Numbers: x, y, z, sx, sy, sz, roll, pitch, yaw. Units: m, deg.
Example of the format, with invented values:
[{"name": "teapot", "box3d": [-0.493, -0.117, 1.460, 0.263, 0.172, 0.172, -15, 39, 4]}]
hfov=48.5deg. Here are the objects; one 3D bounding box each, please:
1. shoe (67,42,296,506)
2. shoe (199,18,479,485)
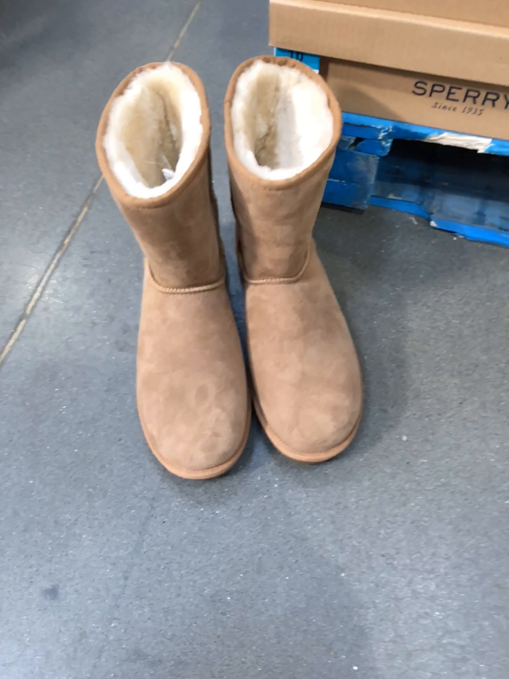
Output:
[{"name": "shoe", "box3d": [-0.051, -0.043, 0.507, 0.130, 0.259, 0.311, -6, 62, -1]}, {"name": "shoe", "box3d": [0.047, -0.064, 0.512, 0.130, 0.259, 0.311, -9, 62, -2]}]
